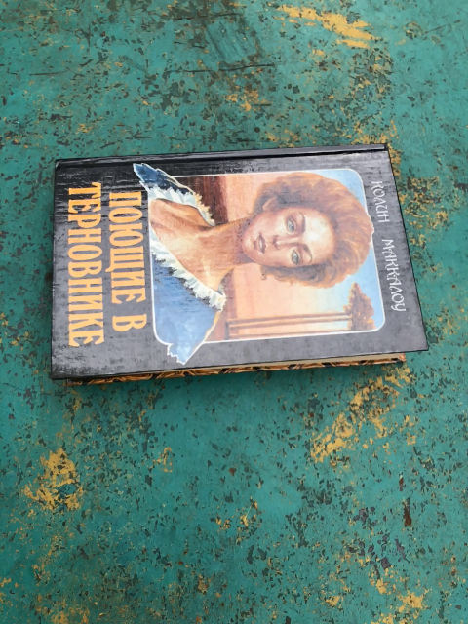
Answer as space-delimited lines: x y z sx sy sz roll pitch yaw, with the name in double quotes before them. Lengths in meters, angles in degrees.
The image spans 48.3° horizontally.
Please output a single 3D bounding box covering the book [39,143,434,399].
"book" -0.002 -0.028 0.309 0.208 0.032 0.138 -3 73 -4
